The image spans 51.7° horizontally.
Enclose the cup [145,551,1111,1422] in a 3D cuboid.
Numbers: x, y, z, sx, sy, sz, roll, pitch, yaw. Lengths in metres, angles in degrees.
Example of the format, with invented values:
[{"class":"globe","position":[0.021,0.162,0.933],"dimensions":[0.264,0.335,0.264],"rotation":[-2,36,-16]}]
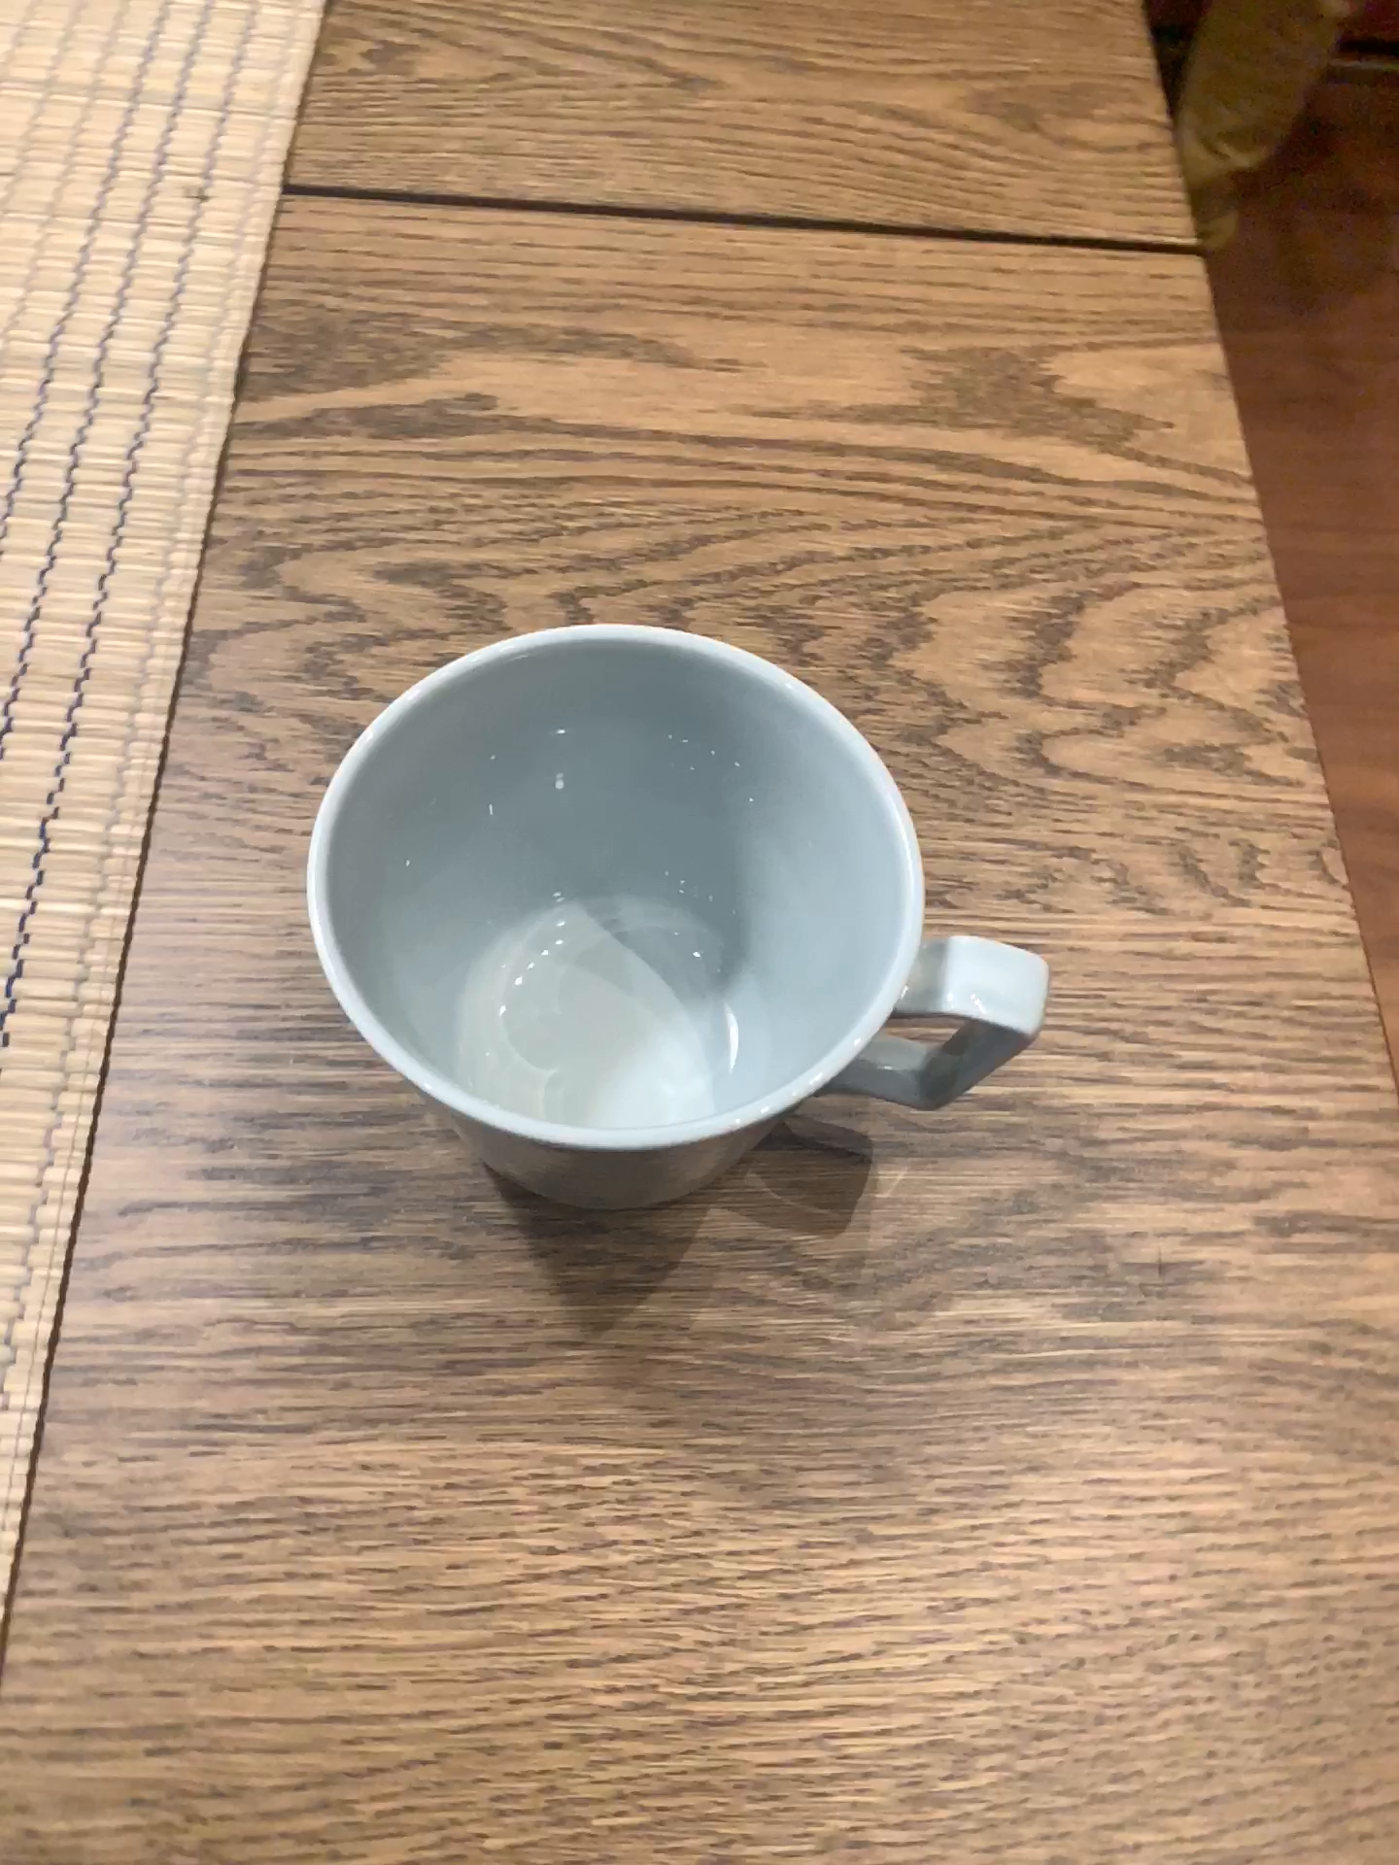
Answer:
[{"class":"cup","position":[-0.009,0.015,0.294],"dimensions":[0.140,0.100,0.110],"rotation":[16,62,5]}]
